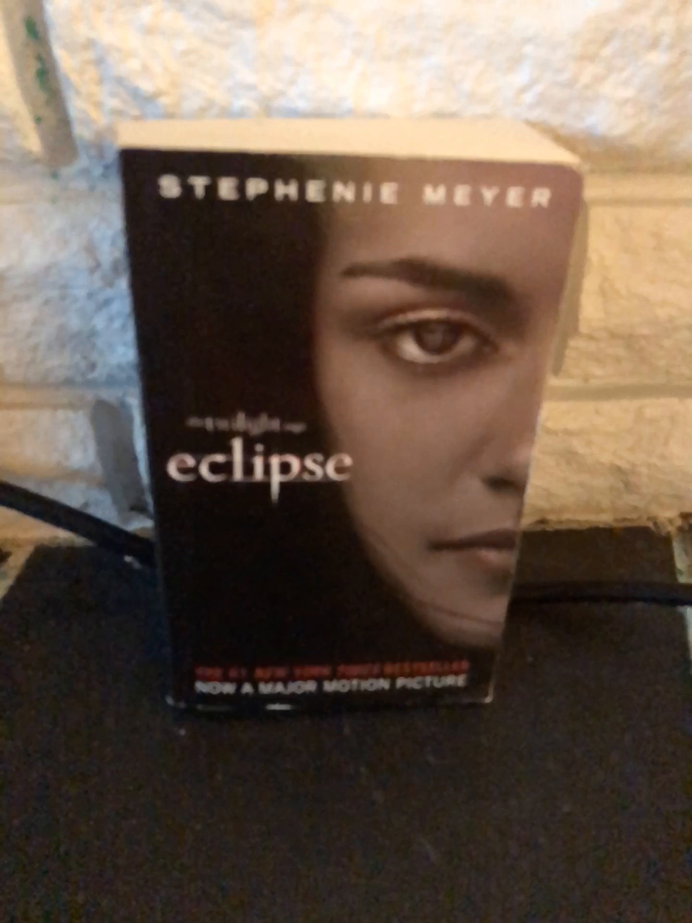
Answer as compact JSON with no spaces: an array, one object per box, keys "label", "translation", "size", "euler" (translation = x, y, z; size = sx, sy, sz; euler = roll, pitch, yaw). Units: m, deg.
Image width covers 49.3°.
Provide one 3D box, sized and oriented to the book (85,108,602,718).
[{"label":"book","translation":[-0.002,-0.001,0.221],"size":[0.106,0.181,0.042],"euler":[1,34,-1]}]
